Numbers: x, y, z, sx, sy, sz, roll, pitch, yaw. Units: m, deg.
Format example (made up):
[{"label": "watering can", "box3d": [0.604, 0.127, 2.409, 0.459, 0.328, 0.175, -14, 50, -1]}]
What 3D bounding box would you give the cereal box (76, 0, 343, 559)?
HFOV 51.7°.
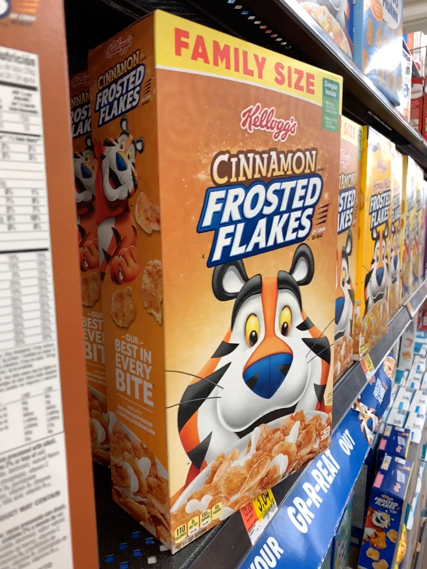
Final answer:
[{"label": "cereal box", "box3d": [0.014, -0.007, 0.357, 0.200, 0.339, 0.080, -8, 9, -41]}]
